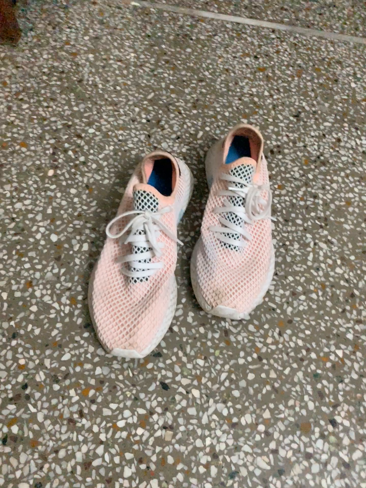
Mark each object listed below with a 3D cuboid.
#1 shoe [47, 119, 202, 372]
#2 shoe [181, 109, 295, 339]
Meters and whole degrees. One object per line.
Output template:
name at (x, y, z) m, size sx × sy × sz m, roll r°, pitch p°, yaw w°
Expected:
shoe at (-0.059, -0.008, 0.499) m, size 0.122 × 0.100 × 0.310 m, roll 9°, pitch 61°, yaw 1°
shoe at (0.077, -0.038, 0.537) m, size 0.122 × 0.100 × 0.310 m, roll 7°, pitch 61°, yaw 0°
